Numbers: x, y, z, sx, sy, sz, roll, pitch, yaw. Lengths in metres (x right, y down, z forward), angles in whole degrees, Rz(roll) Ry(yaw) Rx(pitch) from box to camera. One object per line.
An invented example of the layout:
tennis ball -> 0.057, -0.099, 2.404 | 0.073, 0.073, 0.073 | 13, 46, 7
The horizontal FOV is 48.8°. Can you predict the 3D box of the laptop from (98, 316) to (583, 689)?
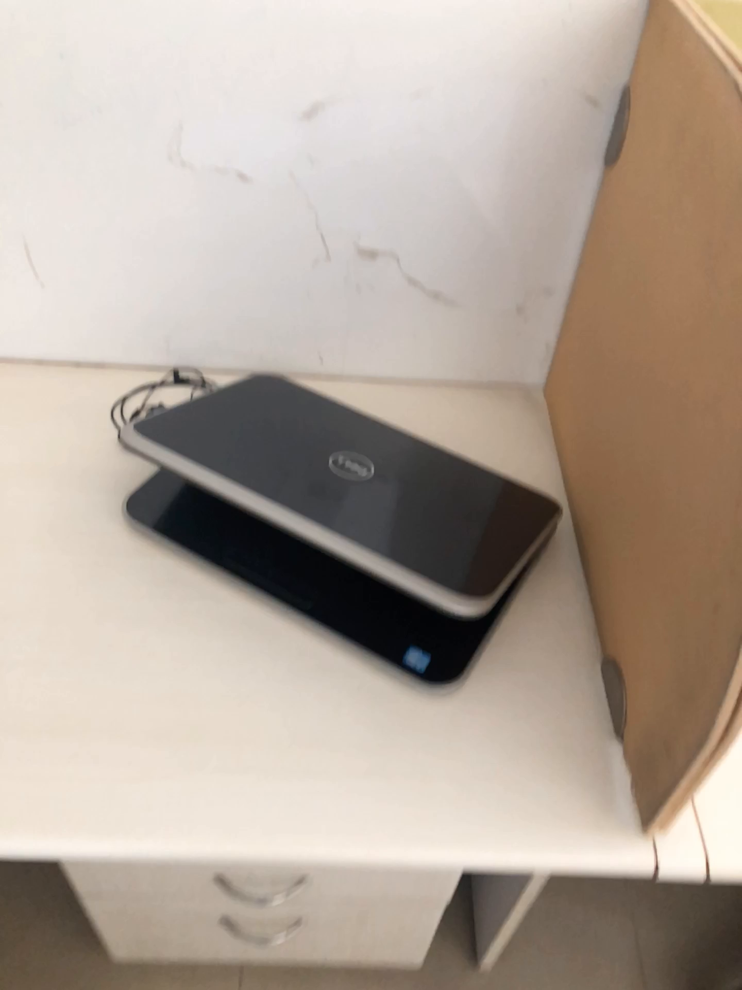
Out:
laptop -> -0.025, -0.016, 0.760 | 0.357, 0.094, 0.239 | 26, 48, 19
